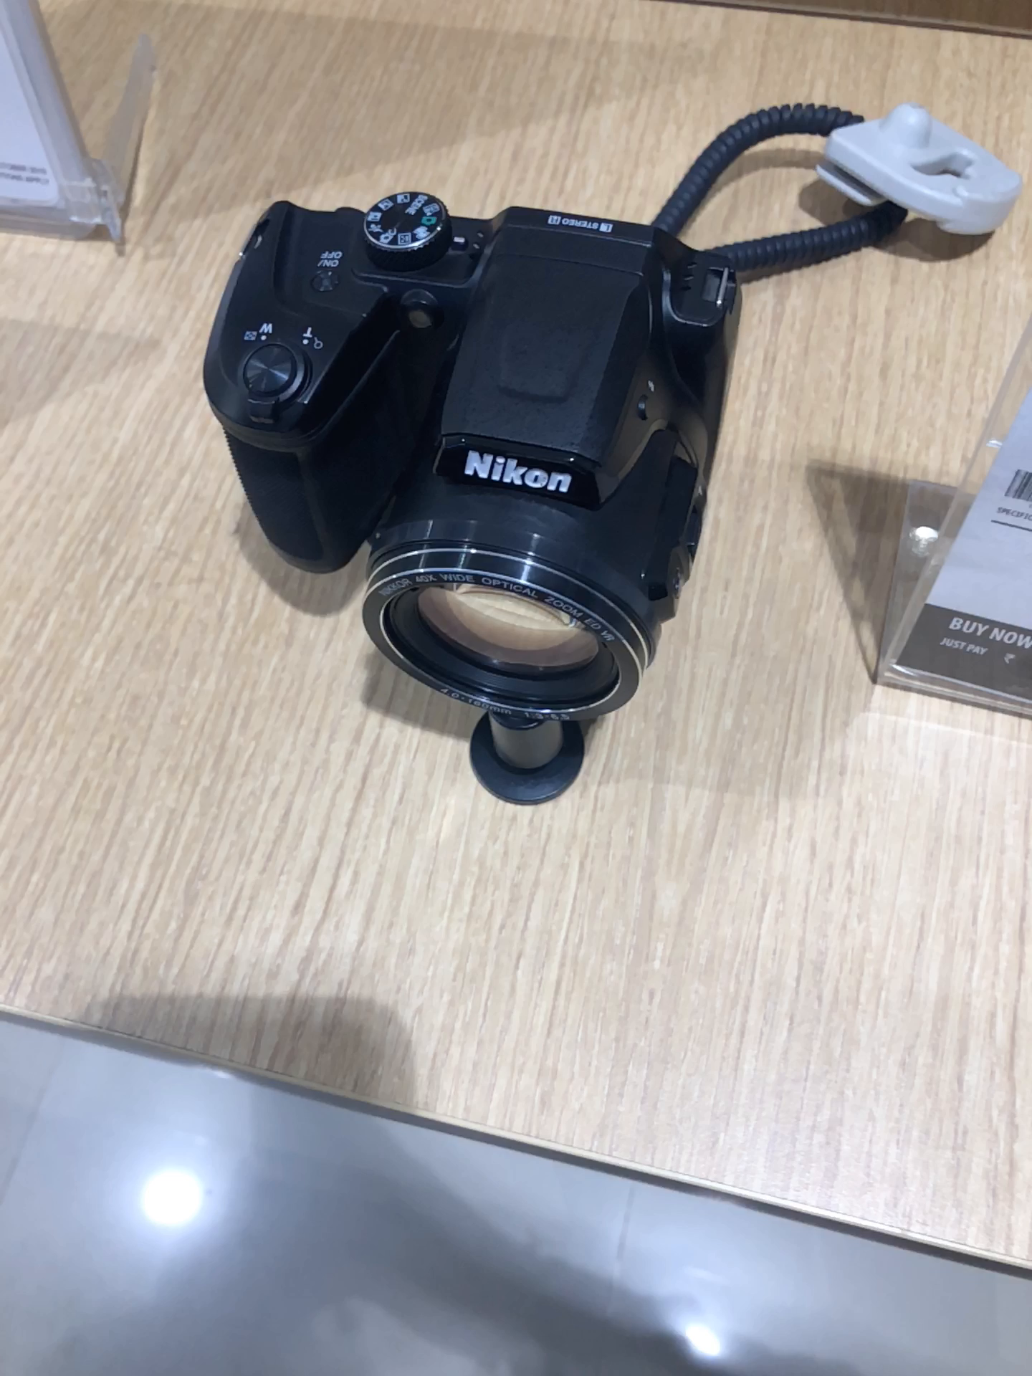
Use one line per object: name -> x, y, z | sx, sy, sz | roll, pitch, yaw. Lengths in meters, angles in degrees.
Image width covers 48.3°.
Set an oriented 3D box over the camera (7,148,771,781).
camera -> -0.018, -0.046, 0.240 | 0.120, 0.070, 0.090 | 10, 65, 8
